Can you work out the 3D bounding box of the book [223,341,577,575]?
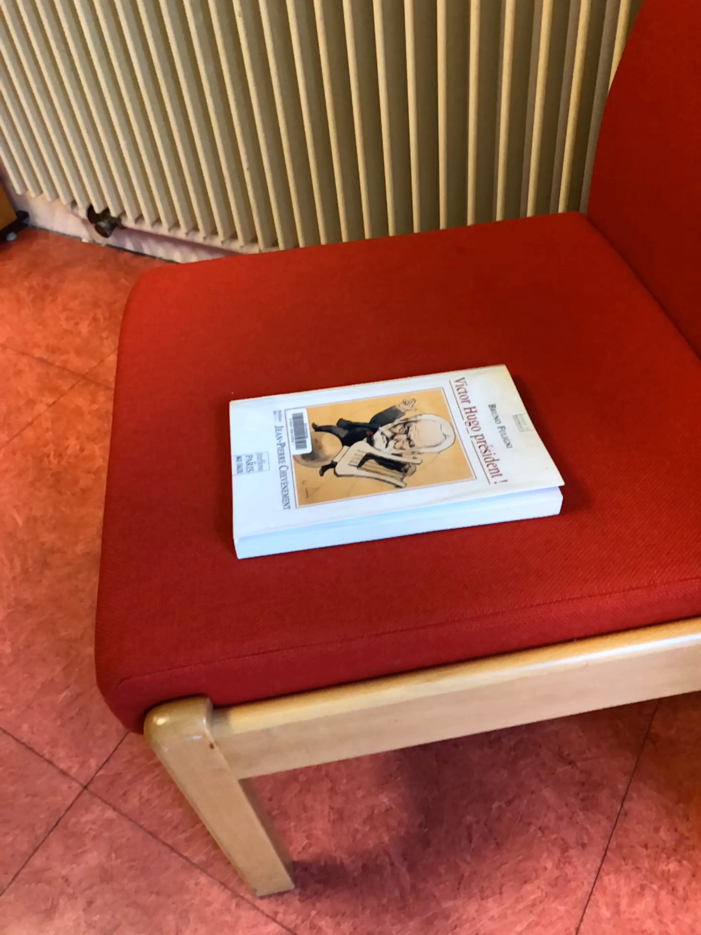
[{"bbox_3d":[0.027,-0.013,0.580,0.236,0.040,0.152,-10,47,-2],"label":"book"}]
